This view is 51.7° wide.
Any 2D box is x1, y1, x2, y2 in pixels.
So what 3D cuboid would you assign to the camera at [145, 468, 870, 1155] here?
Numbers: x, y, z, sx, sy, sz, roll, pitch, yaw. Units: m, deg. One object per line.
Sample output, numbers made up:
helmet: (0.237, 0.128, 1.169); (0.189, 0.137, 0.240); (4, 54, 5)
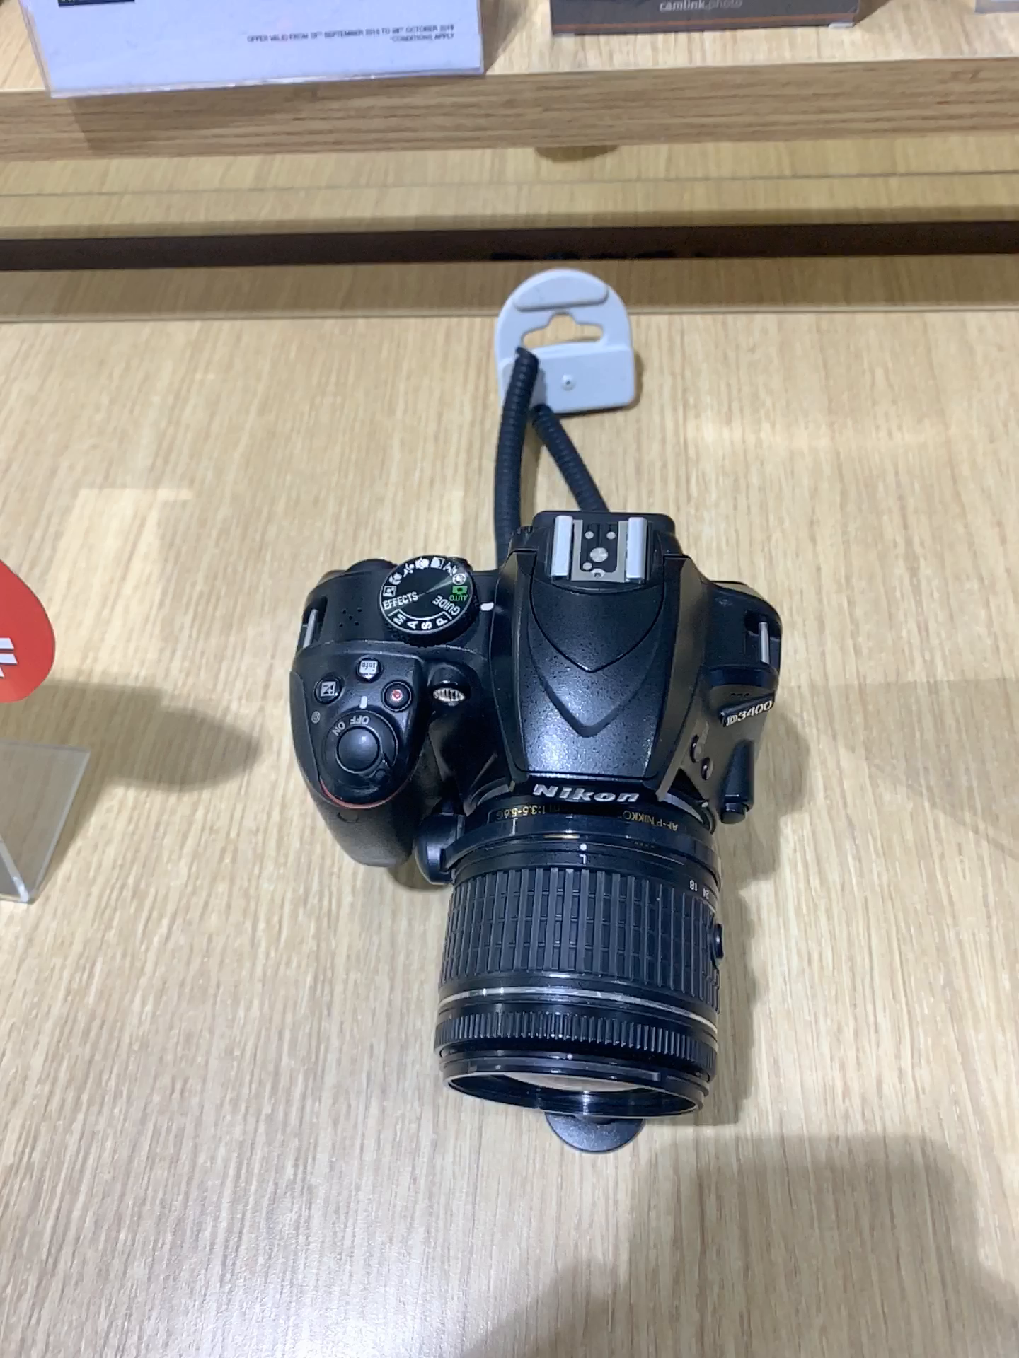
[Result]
camera: (0.005, 0.031, 0.246); (0.120, 0.090, 0.130); (0, 58, 5)
